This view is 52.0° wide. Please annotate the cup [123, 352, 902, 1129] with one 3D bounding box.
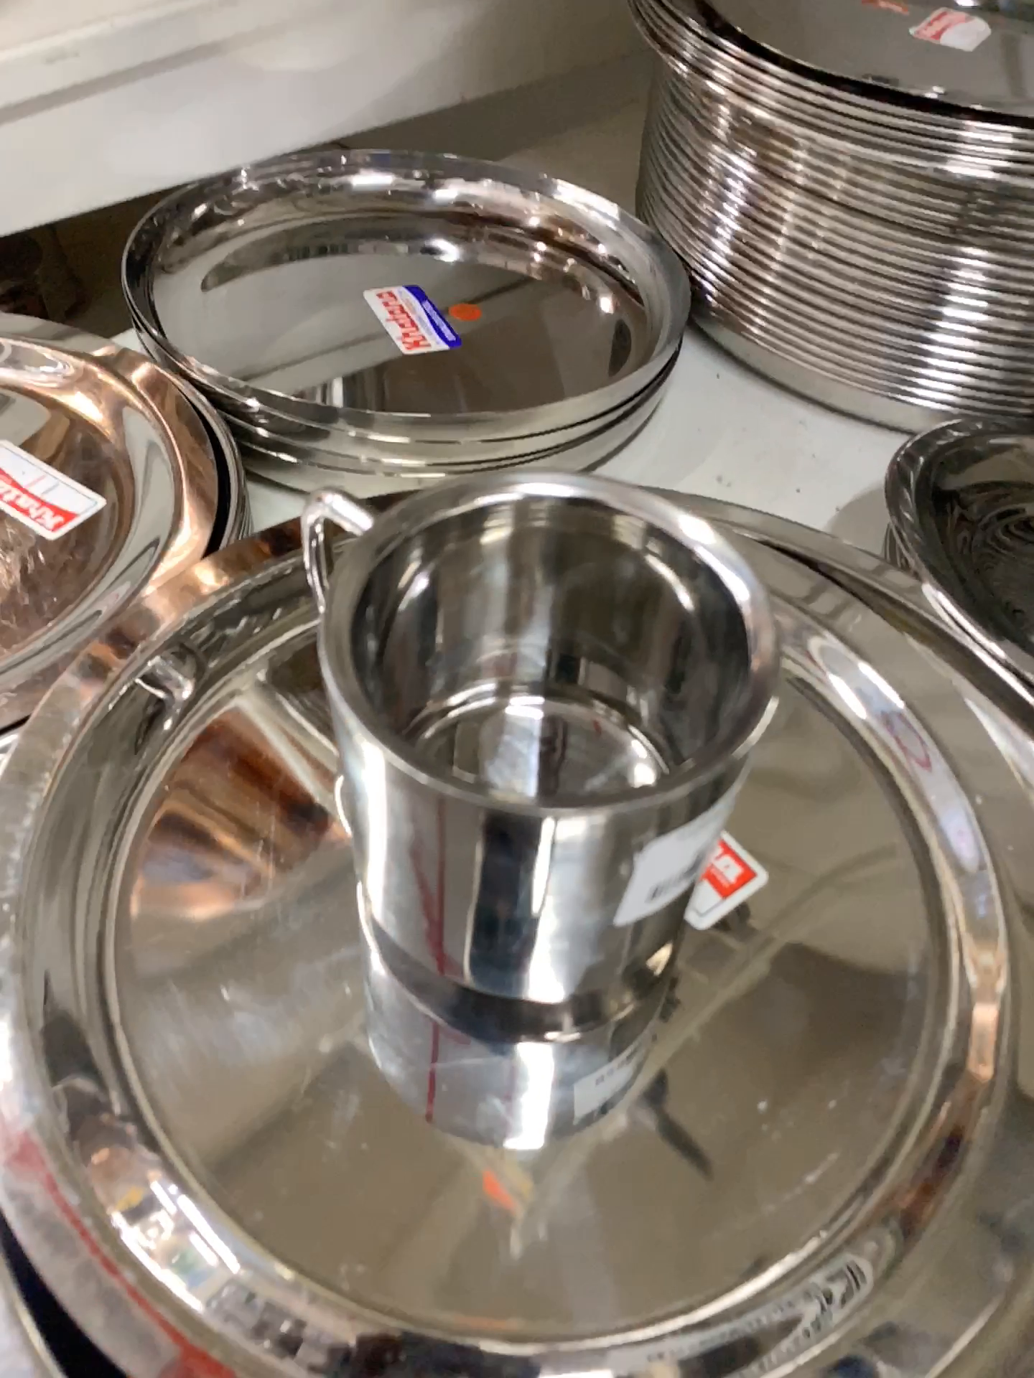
[{"bbox_3d":[-0.003,0.005,0.181,0.090,0.070,0.070,37,57,25],"label":"cup"}]
